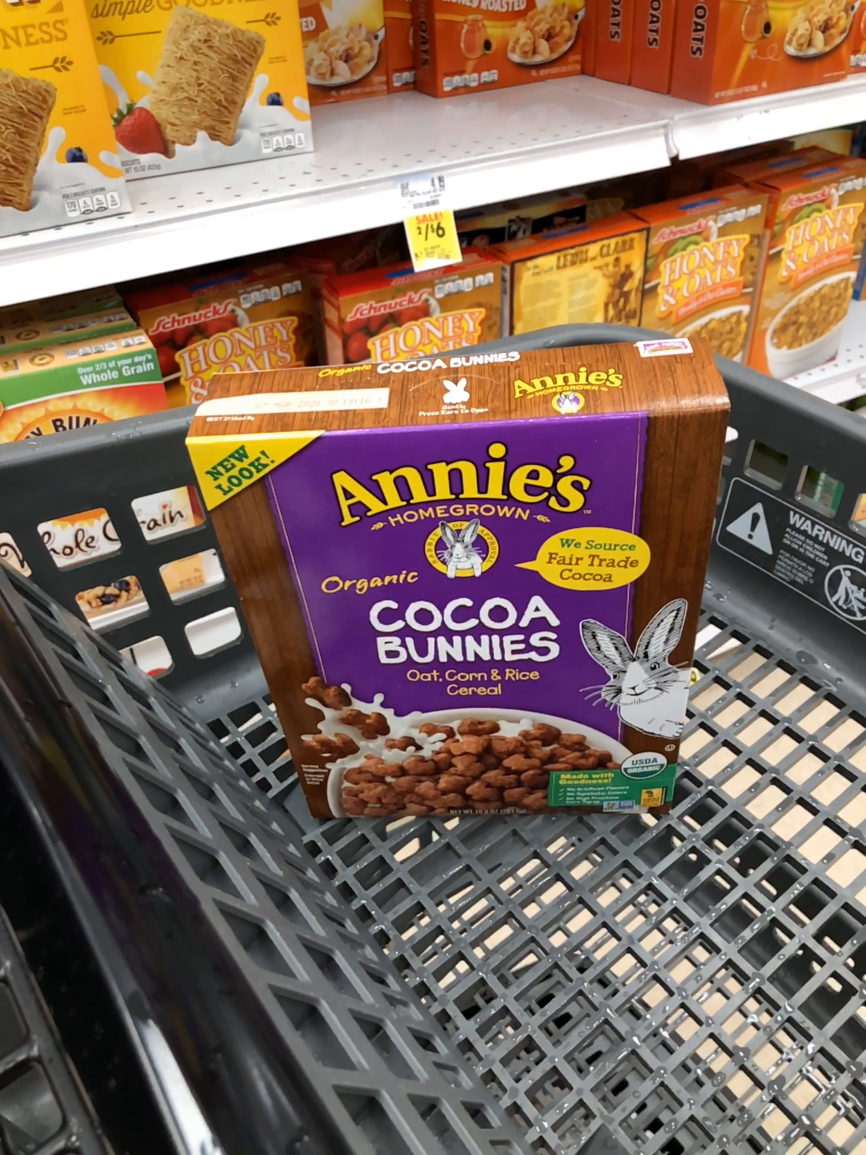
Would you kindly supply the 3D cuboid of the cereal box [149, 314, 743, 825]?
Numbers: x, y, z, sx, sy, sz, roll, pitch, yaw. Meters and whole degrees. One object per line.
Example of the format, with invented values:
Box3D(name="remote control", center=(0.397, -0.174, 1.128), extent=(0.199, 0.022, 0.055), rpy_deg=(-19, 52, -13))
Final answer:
Box3D(name="cereal box", center=(0.012, 0.014, 0.419), extent=(0.200, 0.239, 0.050), rpy_deg=(-3, 41, 3))
